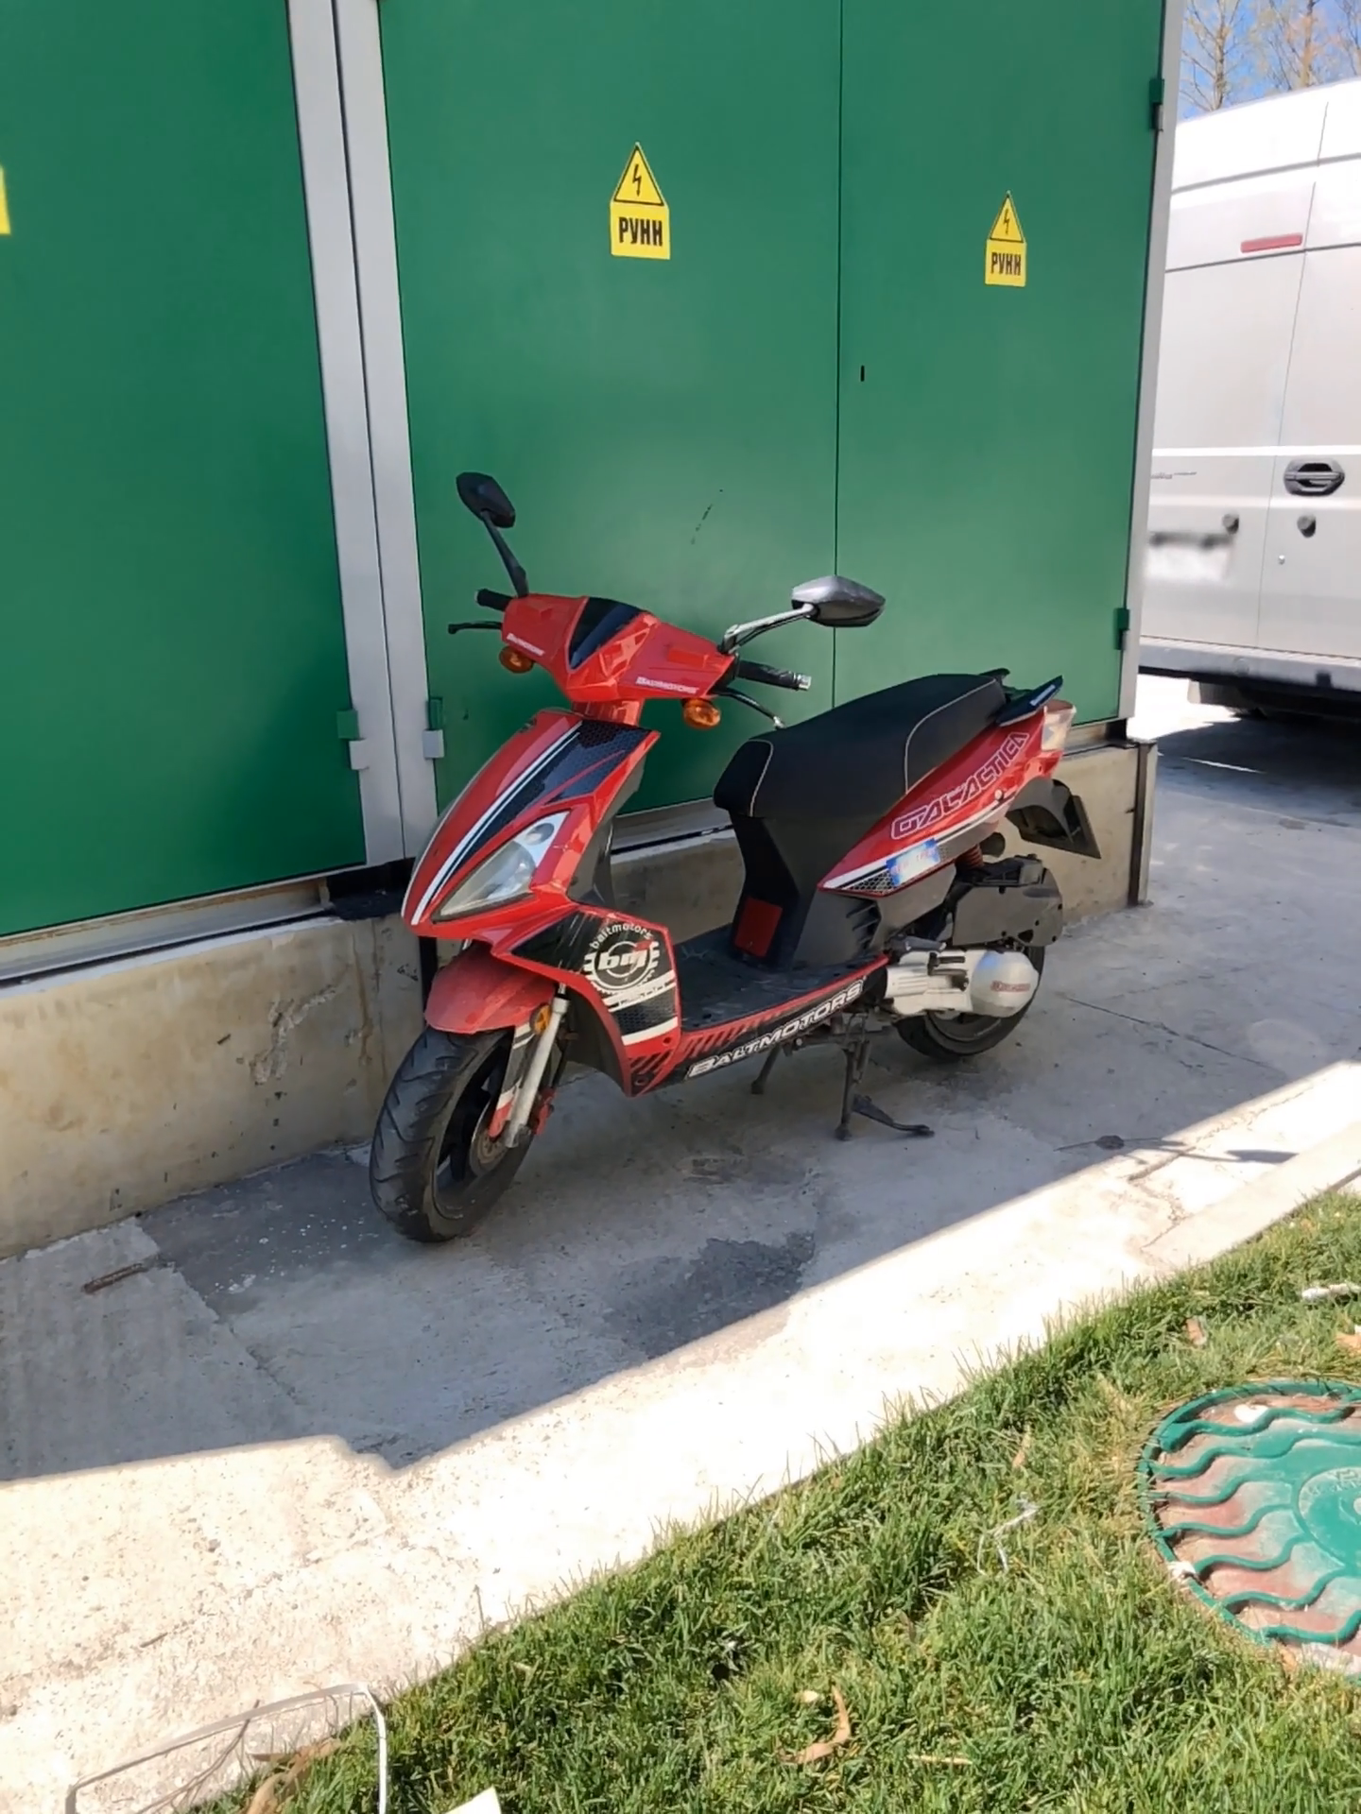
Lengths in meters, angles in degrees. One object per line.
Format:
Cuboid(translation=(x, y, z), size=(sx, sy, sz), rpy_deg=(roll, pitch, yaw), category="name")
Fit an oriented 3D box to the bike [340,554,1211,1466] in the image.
Cuboid(translation=(0.237, 0.004, 2.642), size=(1.592, 1.086, 0.590), rpy_deg=(-14, 21, -34), category="bike")
